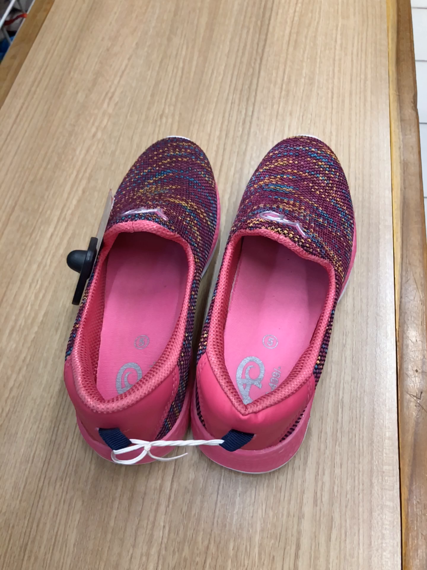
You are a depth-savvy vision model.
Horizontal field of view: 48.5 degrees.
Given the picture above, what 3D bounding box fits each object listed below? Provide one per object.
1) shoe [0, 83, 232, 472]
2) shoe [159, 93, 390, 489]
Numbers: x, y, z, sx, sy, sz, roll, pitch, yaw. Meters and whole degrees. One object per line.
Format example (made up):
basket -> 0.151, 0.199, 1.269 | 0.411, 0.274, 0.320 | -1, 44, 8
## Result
shoe -> -0.045, -0.013, 0.332 | 0.090, 0.100, 0.251 | 3, 63, 7
shoe -> 0.055, -0.004, 0.349 | 0.100, 0.100, 0.261 | 11, 64, 11
